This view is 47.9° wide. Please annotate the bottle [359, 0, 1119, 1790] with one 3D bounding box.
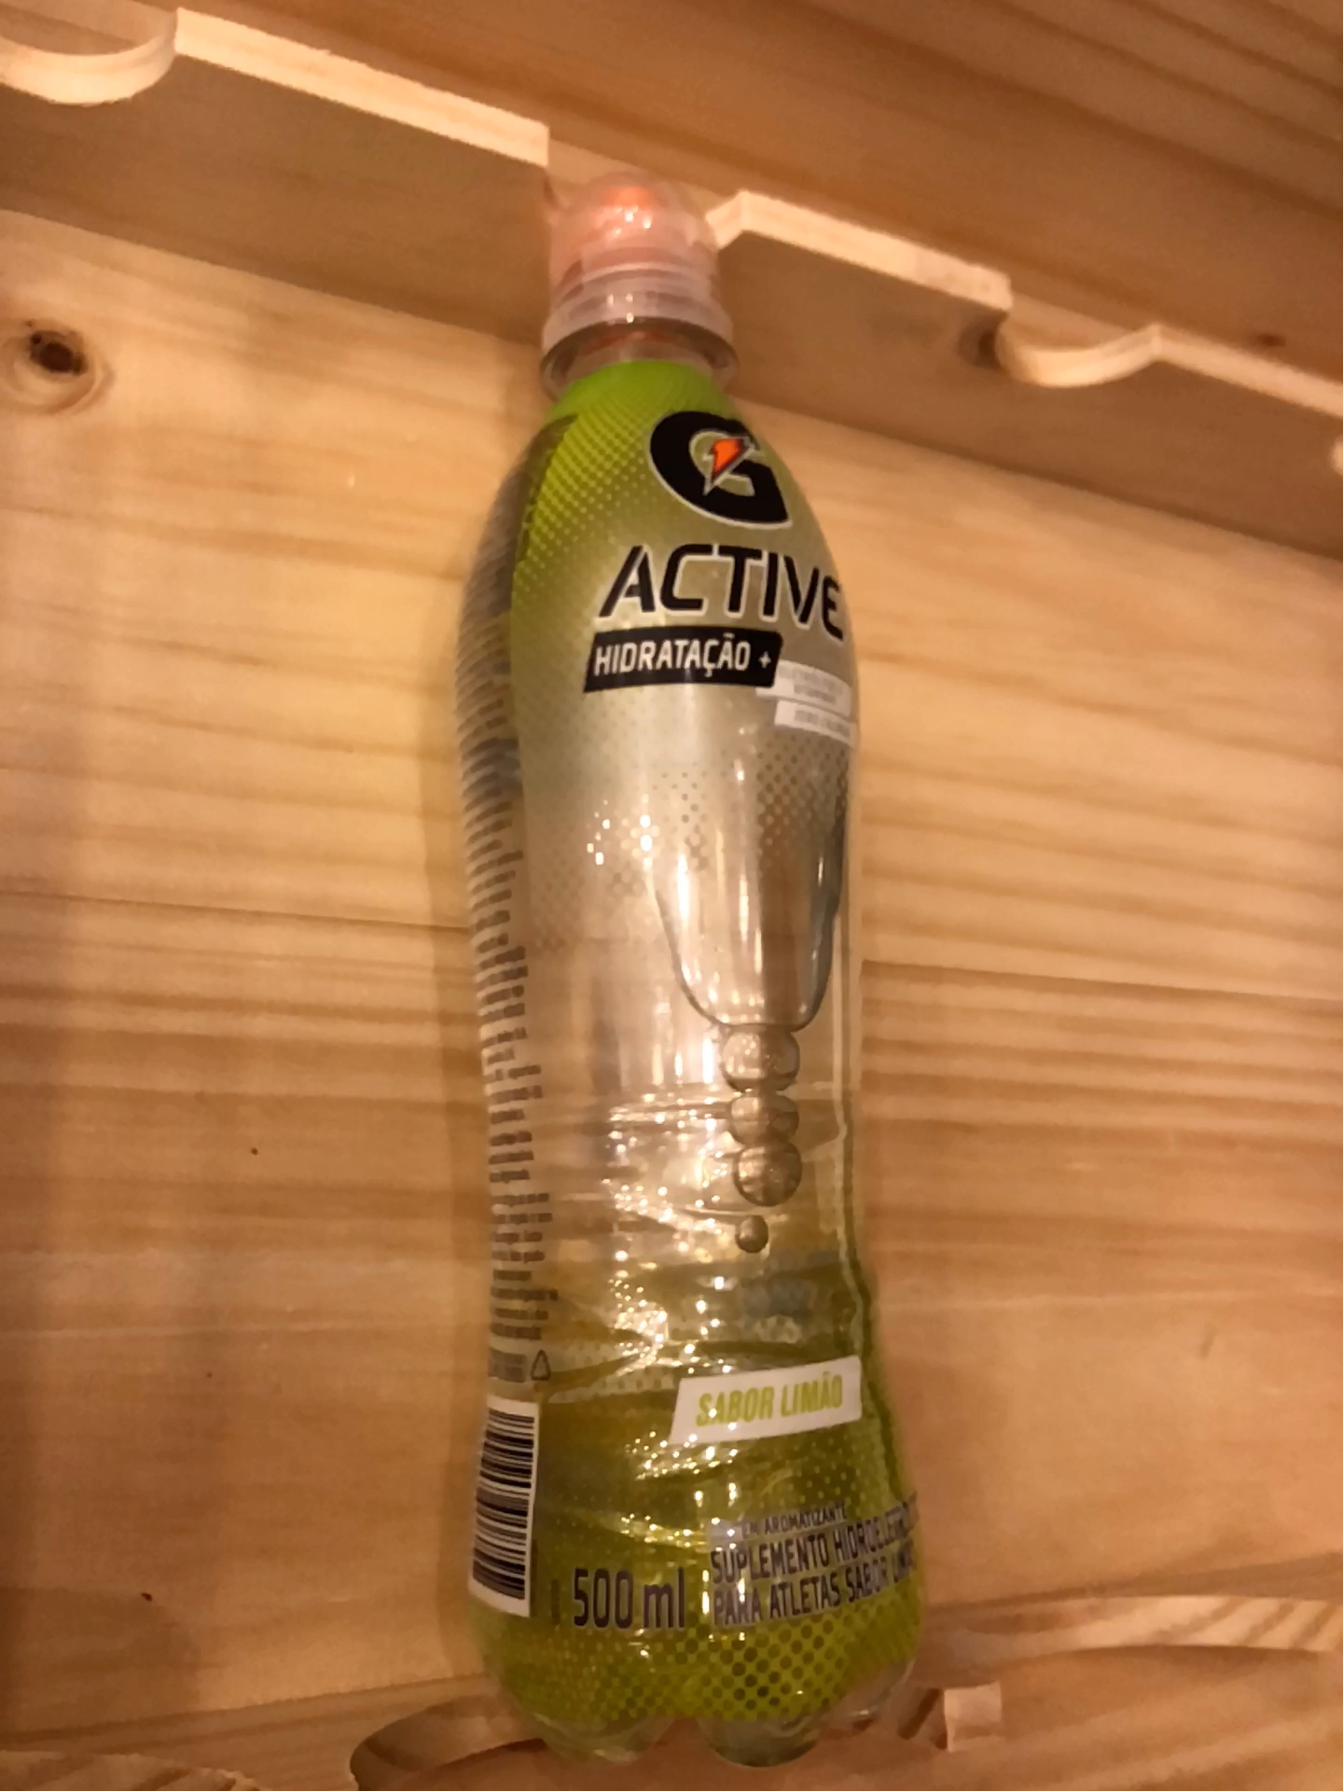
[{"bbox_3d":[-0.001,-0.014,0.234,0.070,0.070,0.270,3,74,-27],"label":"bottle"}]
